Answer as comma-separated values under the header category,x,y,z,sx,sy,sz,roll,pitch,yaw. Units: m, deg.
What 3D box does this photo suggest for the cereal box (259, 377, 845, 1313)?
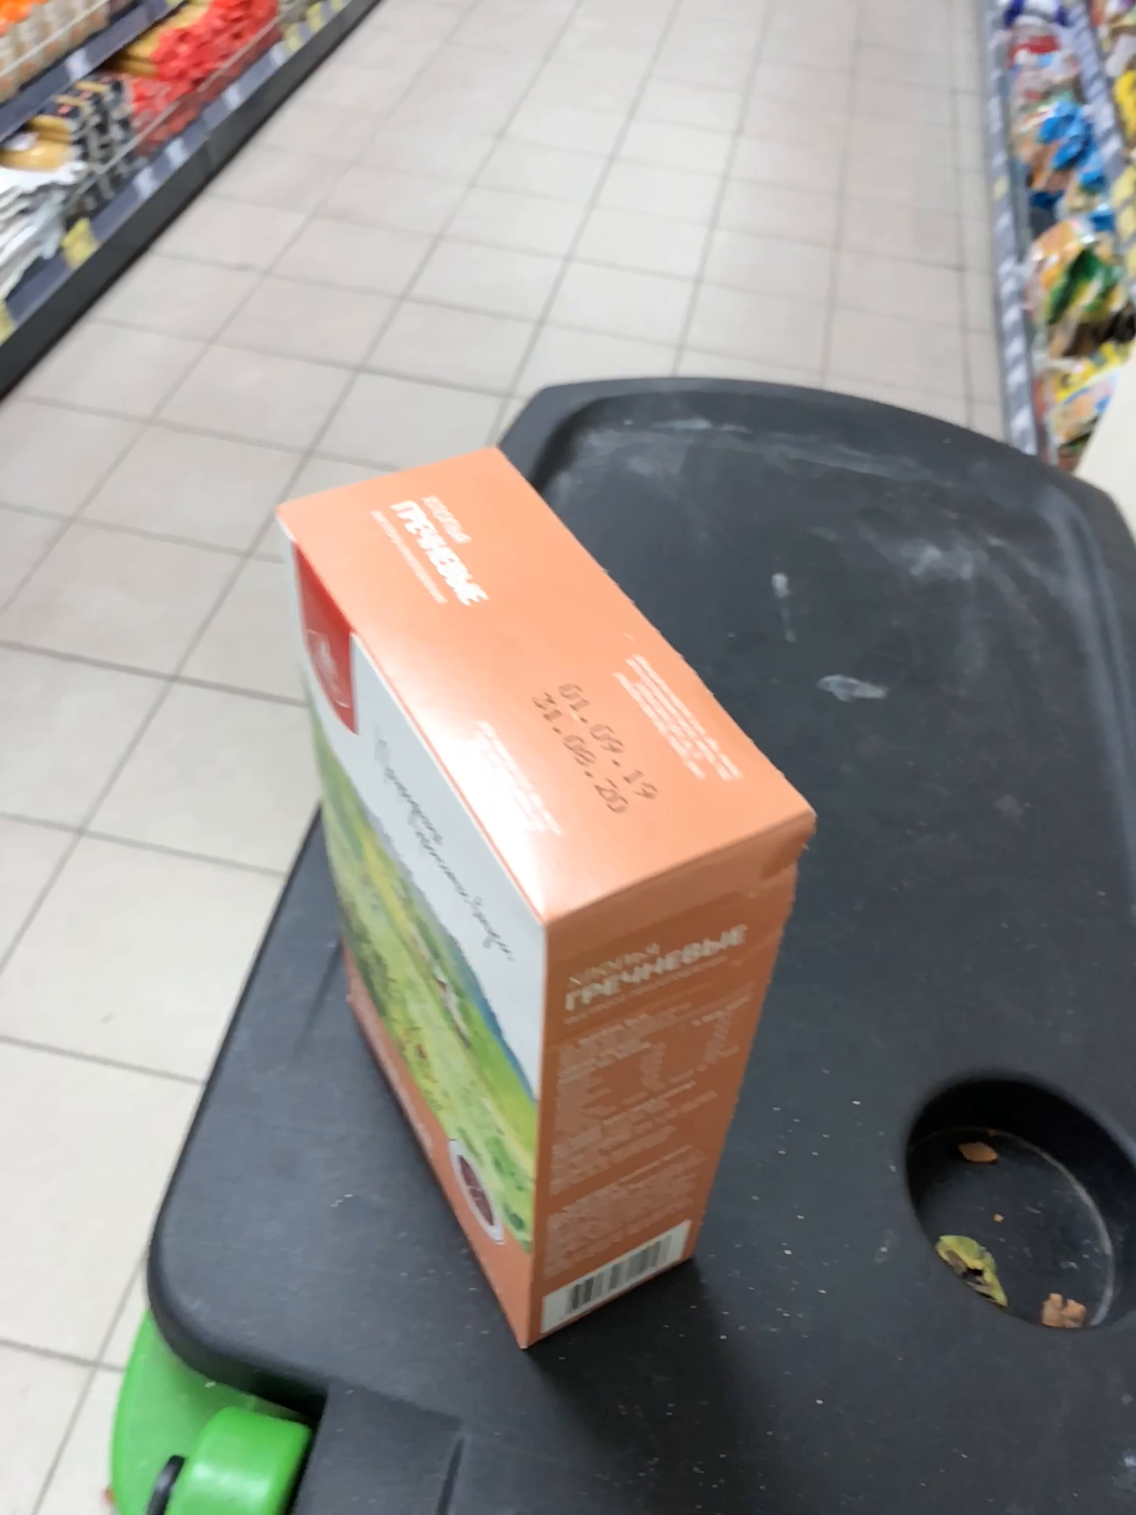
category,x,y,z,sx,sy,sz,roll,pitch,yaw
cereal box,-0.014,0.033,0.335,0.060,0.209,0.141,-21,52,-21
